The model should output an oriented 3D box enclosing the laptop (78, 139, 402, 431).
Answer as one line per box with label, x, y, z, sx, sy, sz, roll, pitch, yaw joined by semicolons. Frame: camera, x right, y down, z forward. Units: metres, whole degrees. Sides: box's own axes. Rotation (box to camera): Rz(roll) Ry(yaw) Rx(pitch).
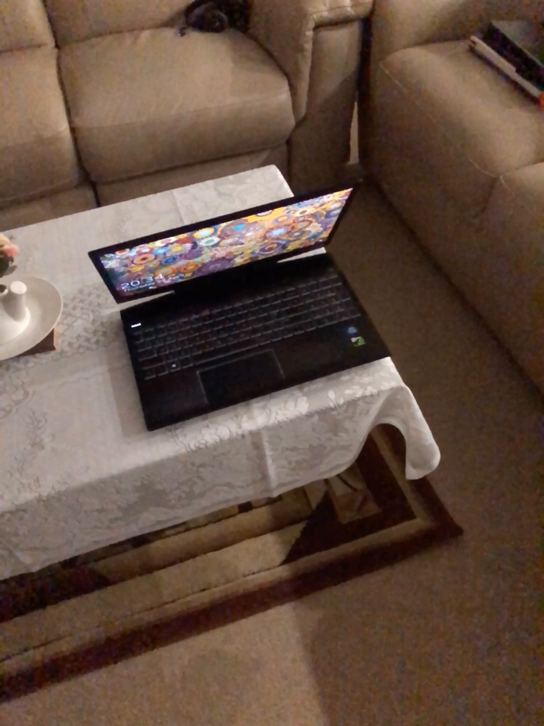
laptop;-0.046;-0.114;0.820;0.355;0.199;0.244;-17;51;-9
